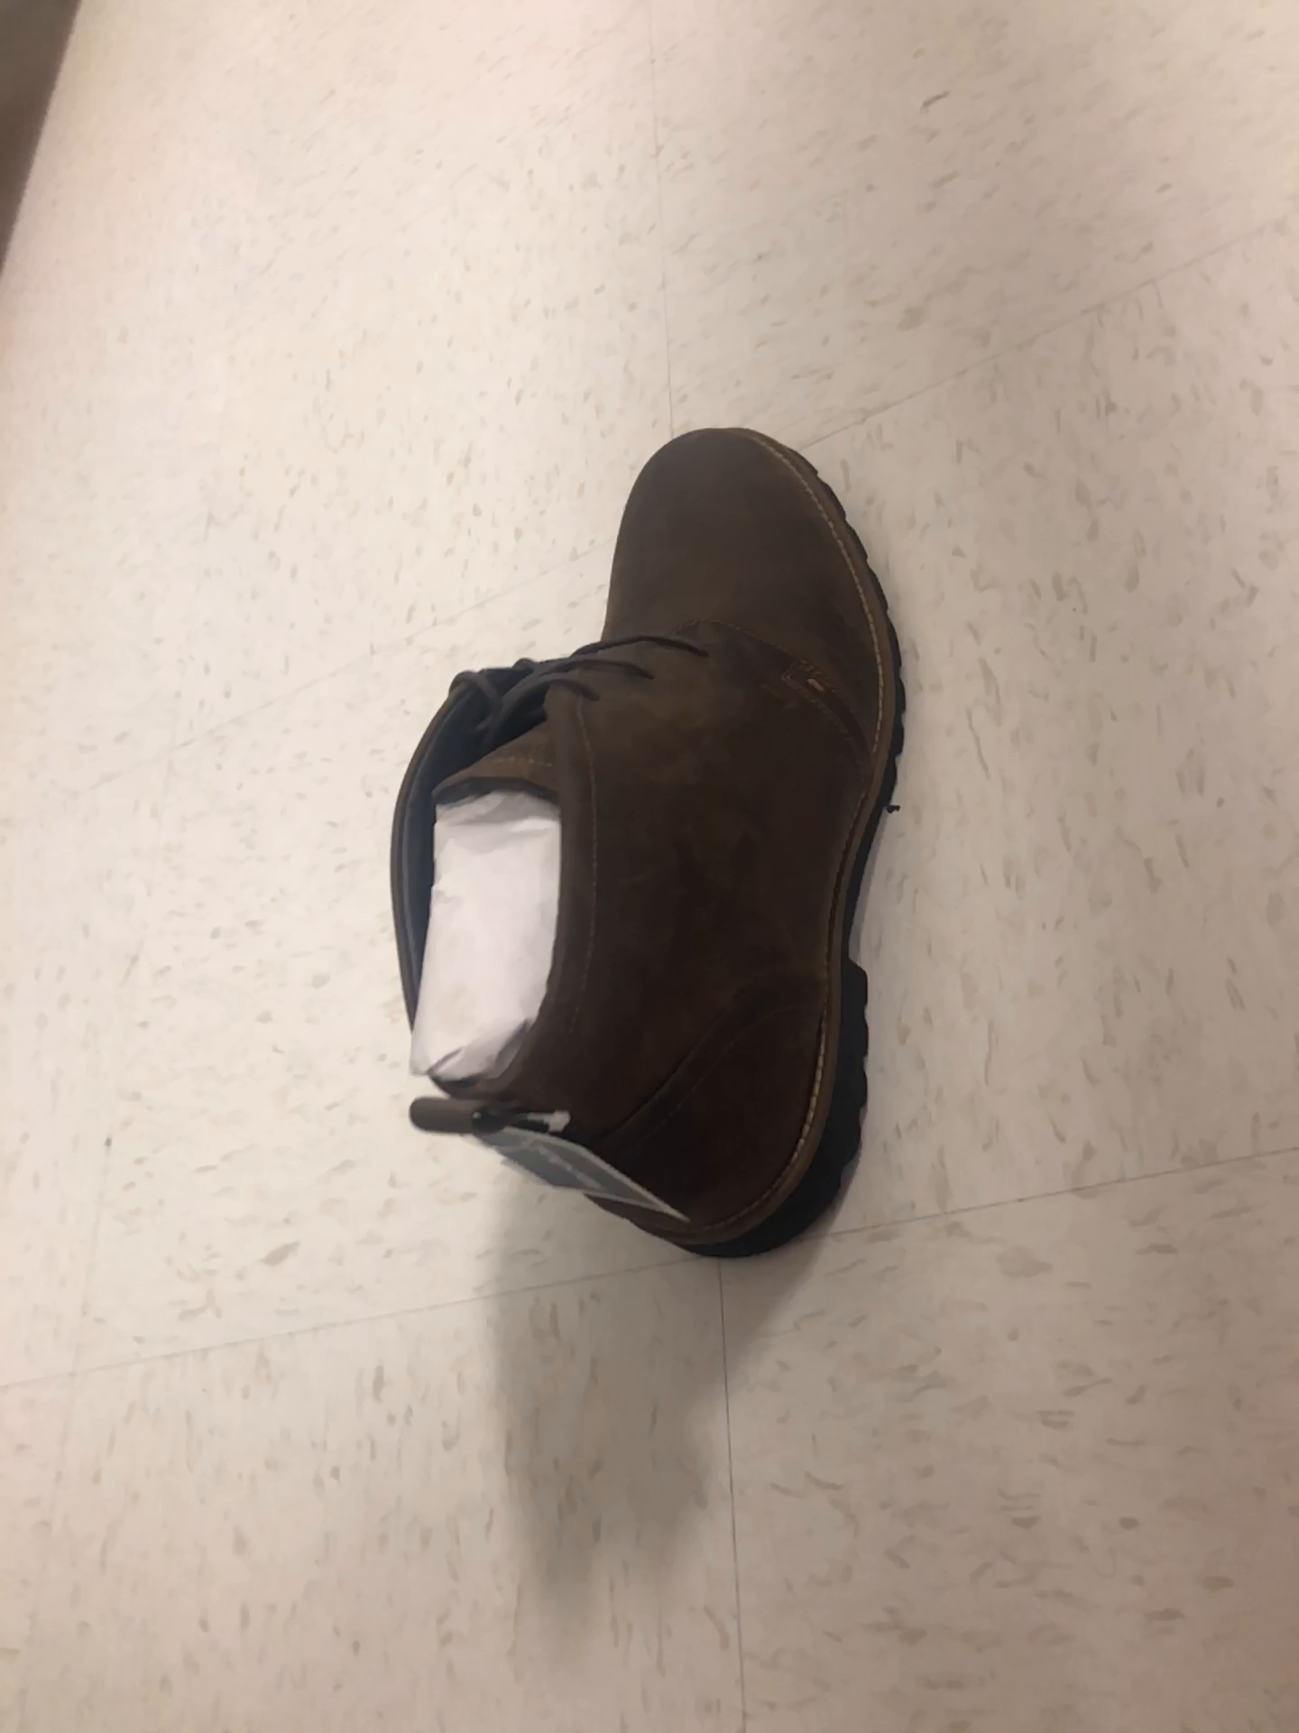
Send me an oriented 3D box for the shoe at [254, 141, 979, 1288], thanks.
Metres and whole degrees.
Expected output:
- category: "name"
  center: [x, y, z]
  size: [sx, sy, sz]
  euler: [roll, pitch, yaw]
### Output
- category: "shoe"
  center: [0.004, -0.036, 0.437]
  size: [0.115, 0.167, 0.283]
  euler: [-15, 58, 30]
